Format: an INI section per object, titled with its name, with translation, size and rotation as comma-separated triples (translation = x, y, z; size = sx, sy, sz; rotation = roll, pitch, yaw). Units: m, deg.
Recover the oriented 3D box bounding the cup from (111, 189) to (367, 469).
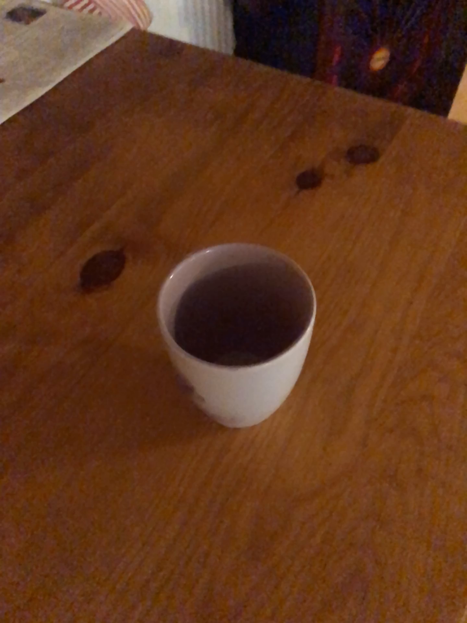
[cup]
translation = -0.001, 0.009, 0.333
size = 0.101, 0.095, 0.120
rotation = -24, 56, -18
